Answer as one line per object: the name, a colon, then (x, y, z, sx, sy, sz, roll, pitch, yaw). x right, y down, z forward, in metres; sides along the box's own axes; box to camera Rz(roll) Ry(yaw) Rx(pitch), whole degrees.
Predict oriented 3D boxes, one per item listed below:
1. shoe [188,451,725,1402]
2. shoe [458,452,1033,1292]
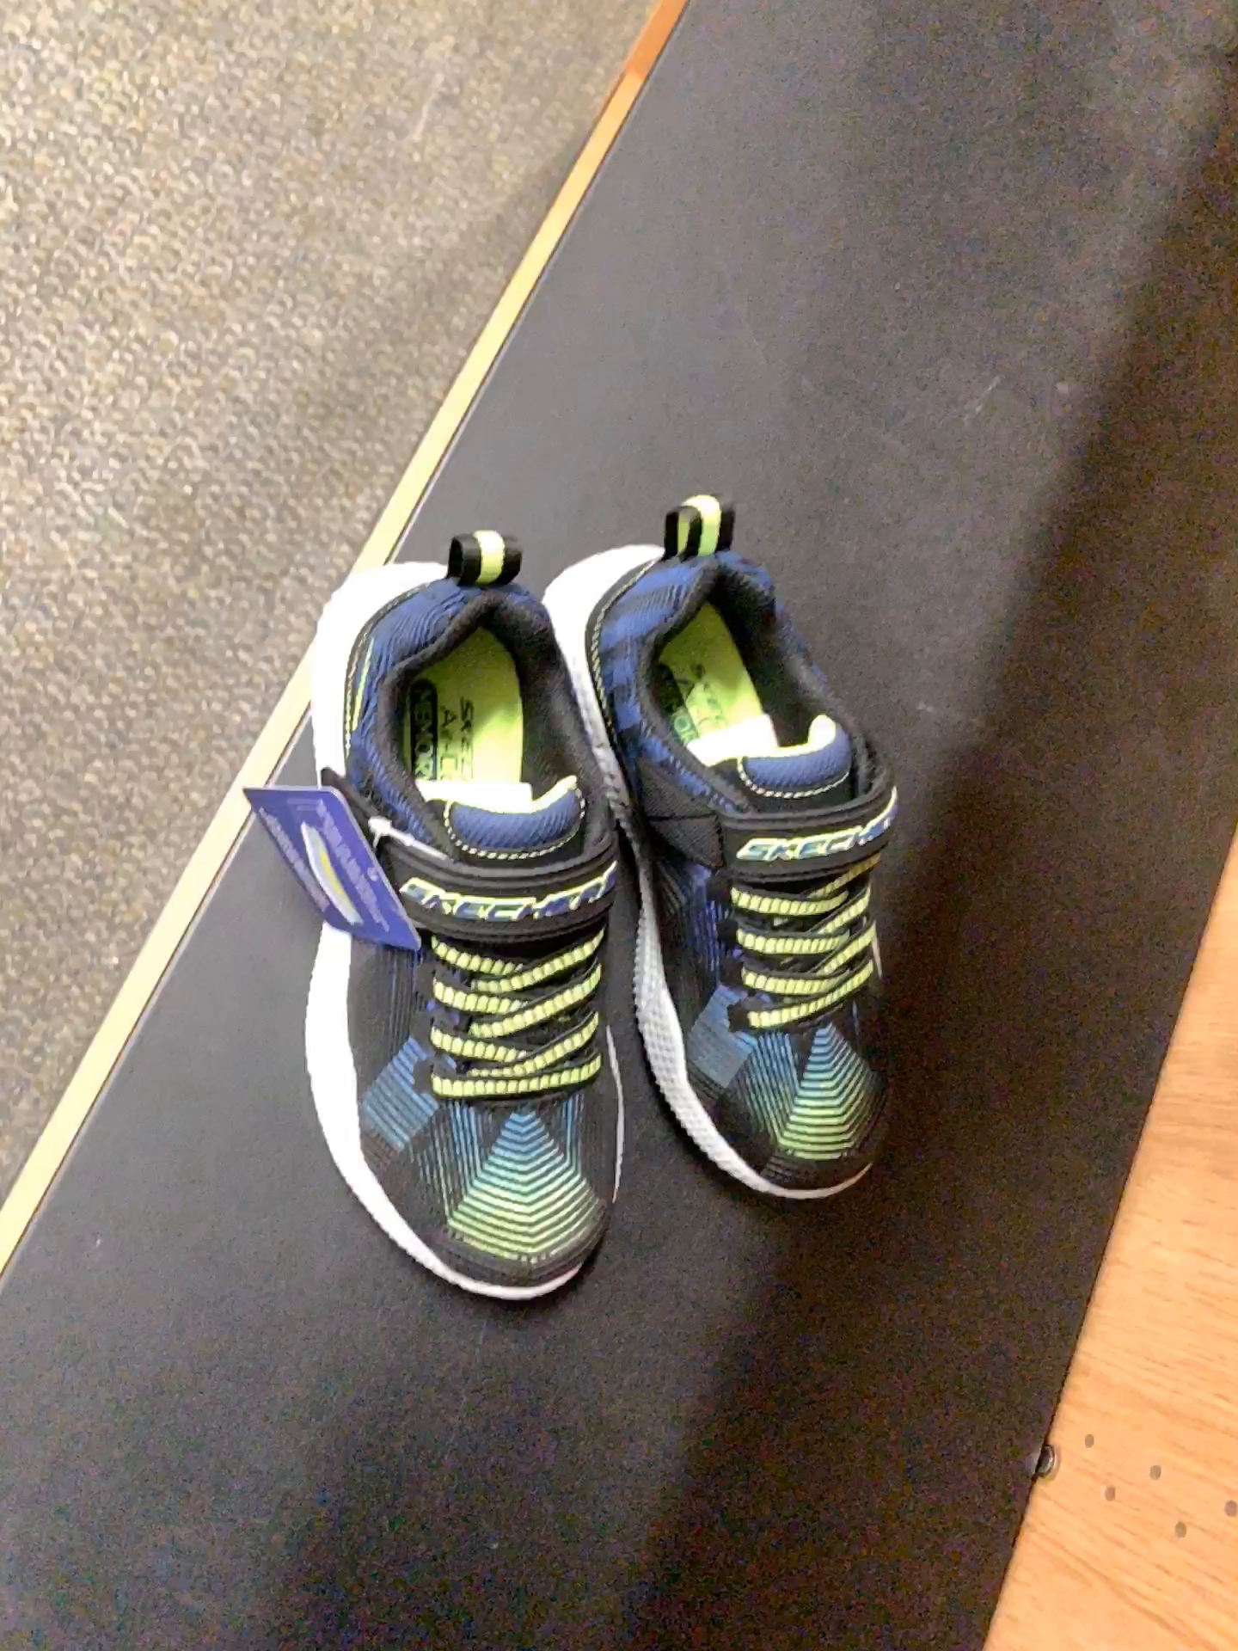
shoe: (-0.053, 0.021, 0.359, 0.098, 0.100, 0.220, -7, 86, -22)
shoe: (0.033, 0.012, 0.404, 0.092, 0.100, 0.220, -15, 89, -22)
